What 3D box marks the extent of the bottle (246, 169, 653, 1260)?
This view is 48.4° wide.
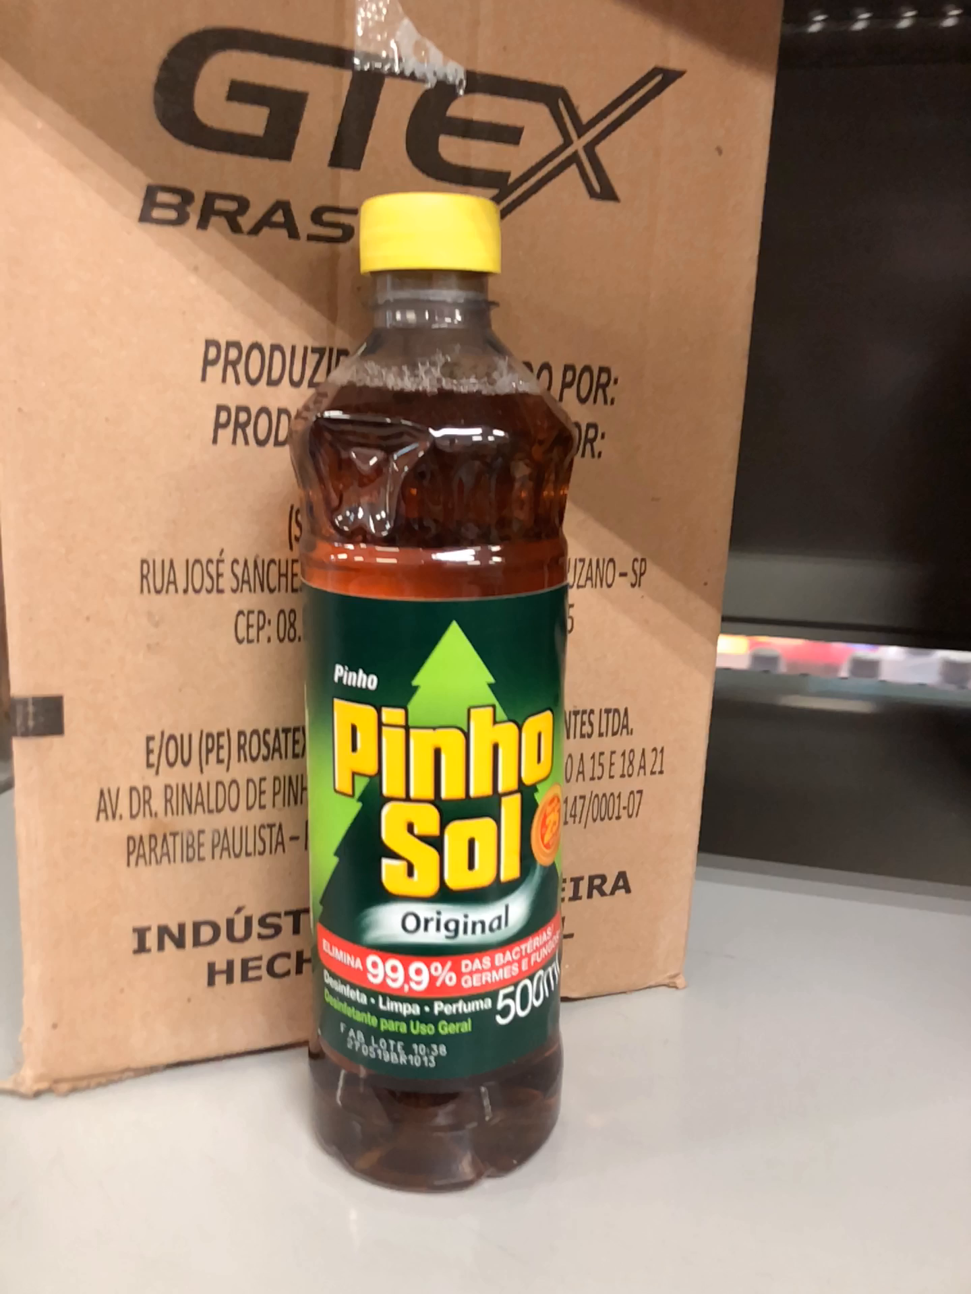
[{"bbox_3d":[-0.015,0.017,0.244,0.070,0.219,0.060,-2,14,-15],"label":"bottle"}]
